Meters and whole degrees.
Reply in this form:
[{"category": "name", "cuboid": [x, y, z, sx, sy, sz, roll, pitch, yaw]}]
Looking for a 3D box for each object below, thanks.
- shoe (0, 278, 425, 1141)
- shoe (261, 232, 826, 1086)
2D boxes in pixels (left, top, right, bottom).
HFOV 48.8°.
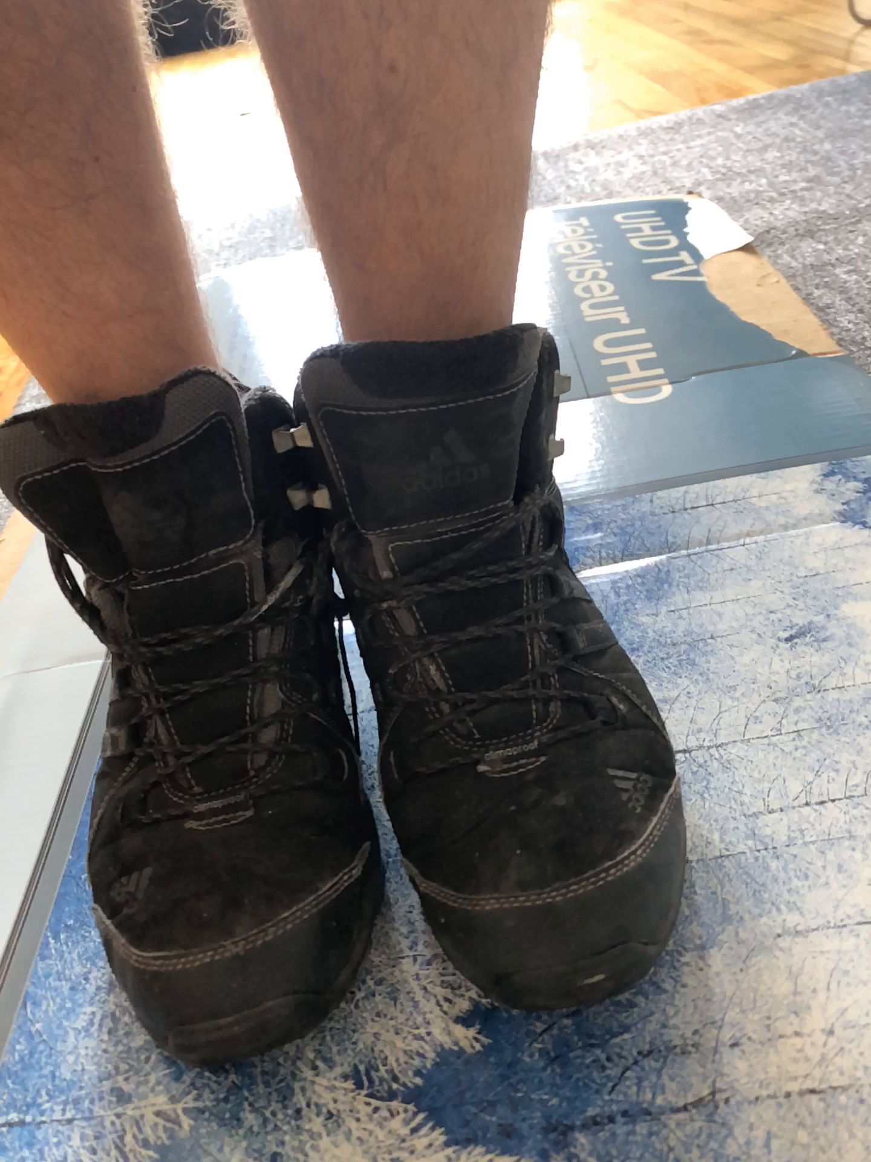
[{"category": "shoe", "cuboid": [-0.101, 0.021, 0.377, 0.110, 0.169, 0.282, -16, 37, -4]}, {"category": "shoe", "cuboid": [0.020, 0.001, 0.373, 0.110, 0.169, 0.282, -16, 37, -4]}]
